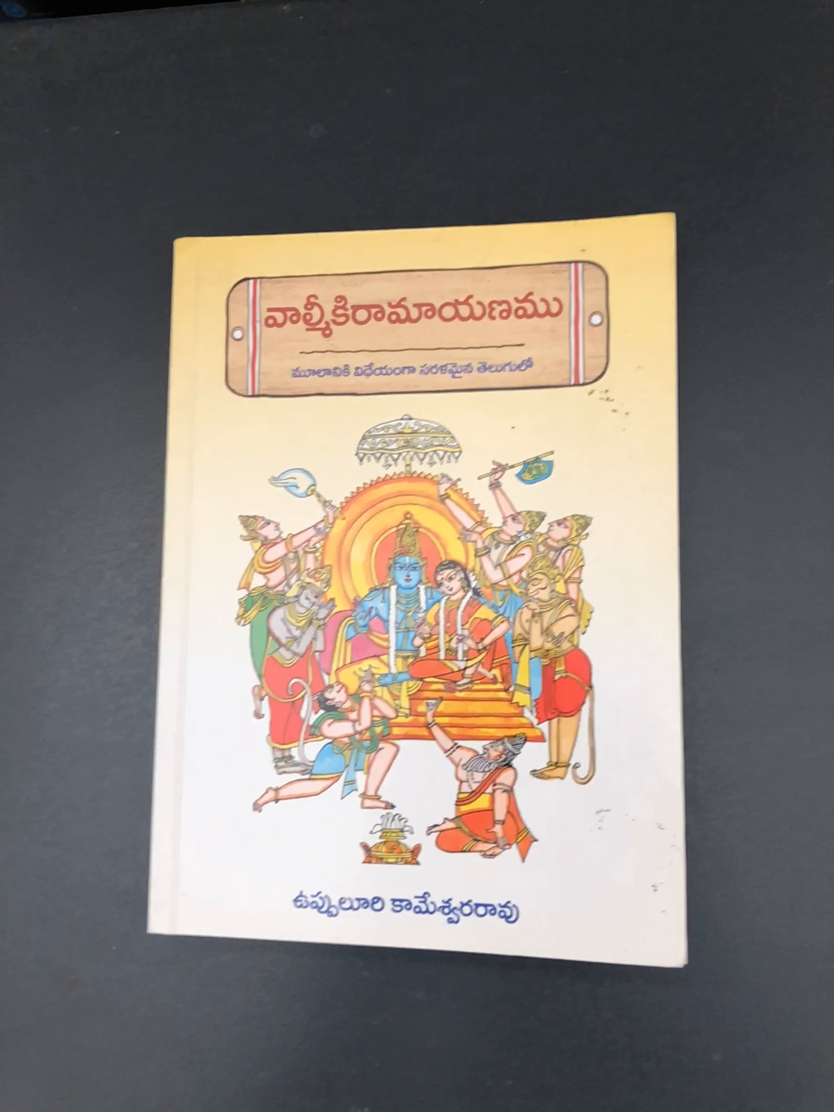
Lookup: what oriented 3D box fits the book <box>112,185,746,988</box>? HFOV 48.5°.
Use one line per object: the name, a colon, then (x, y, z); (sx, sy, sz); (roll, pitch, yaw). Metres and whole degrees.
book: (0.003, 0.004, 0.298); (0.190, 0.020, 0.240); (0, 84, 7)
